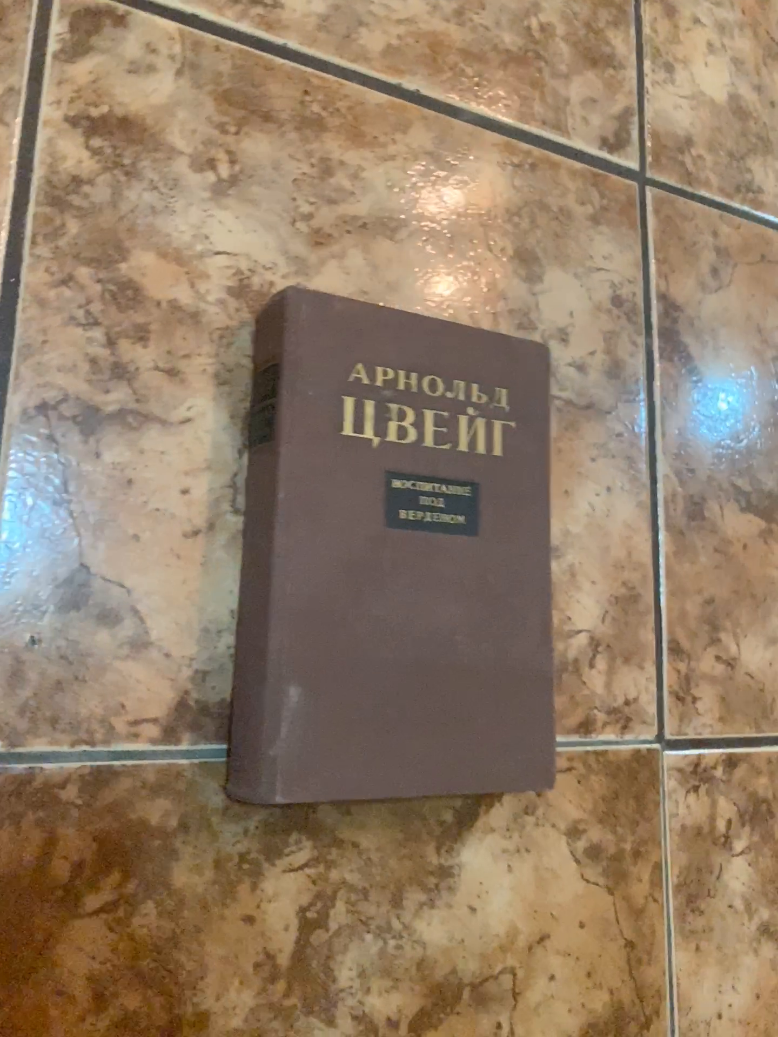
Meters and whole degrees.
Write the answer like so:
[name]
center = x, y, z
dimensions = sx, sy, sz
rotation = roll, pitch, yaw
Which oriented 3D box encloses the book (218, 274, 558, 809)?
[book]
center = 0.006, 0.012, 0.348
dimensions = 0.139, 0.034, 0.205
rotation = 6, 79, -25
